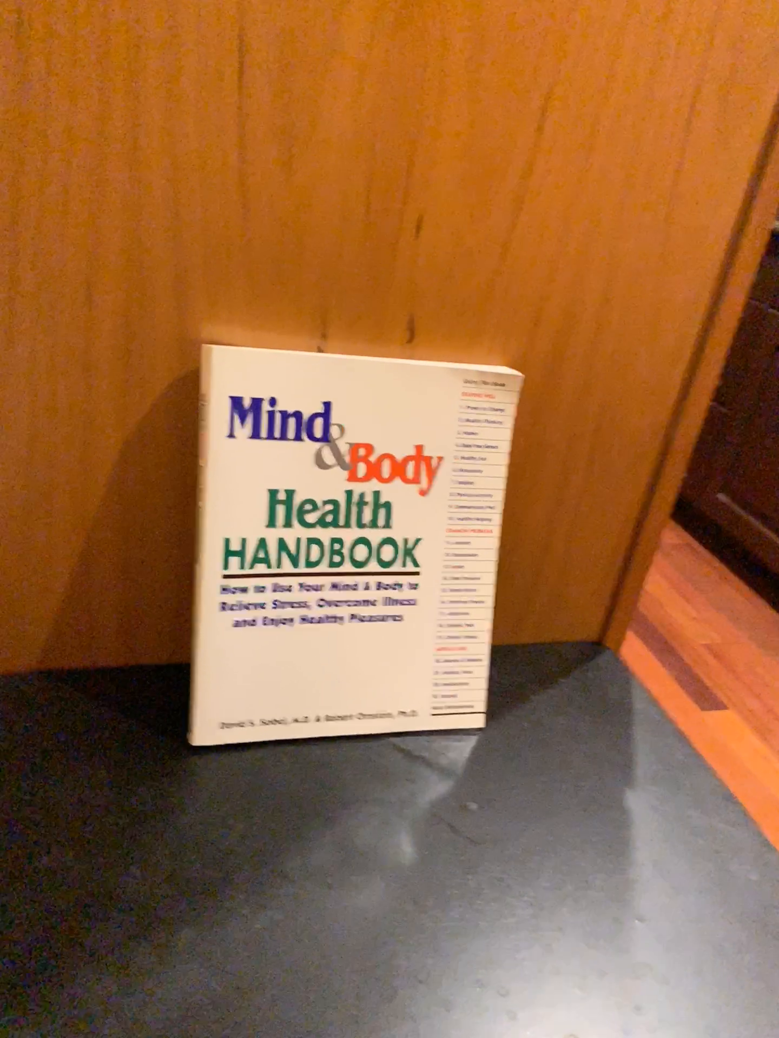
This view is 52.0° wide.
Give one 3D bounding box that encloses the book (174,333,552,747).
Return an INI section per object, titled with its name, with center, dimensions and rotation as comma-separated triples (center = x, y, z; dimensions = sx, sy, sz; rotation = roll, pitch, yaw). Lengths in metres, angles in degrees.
[book]
center = -0.017, 0.015, 0.483
dimensions = 0.210, 0.229, 0.040
rotation = 1, 10, -17
